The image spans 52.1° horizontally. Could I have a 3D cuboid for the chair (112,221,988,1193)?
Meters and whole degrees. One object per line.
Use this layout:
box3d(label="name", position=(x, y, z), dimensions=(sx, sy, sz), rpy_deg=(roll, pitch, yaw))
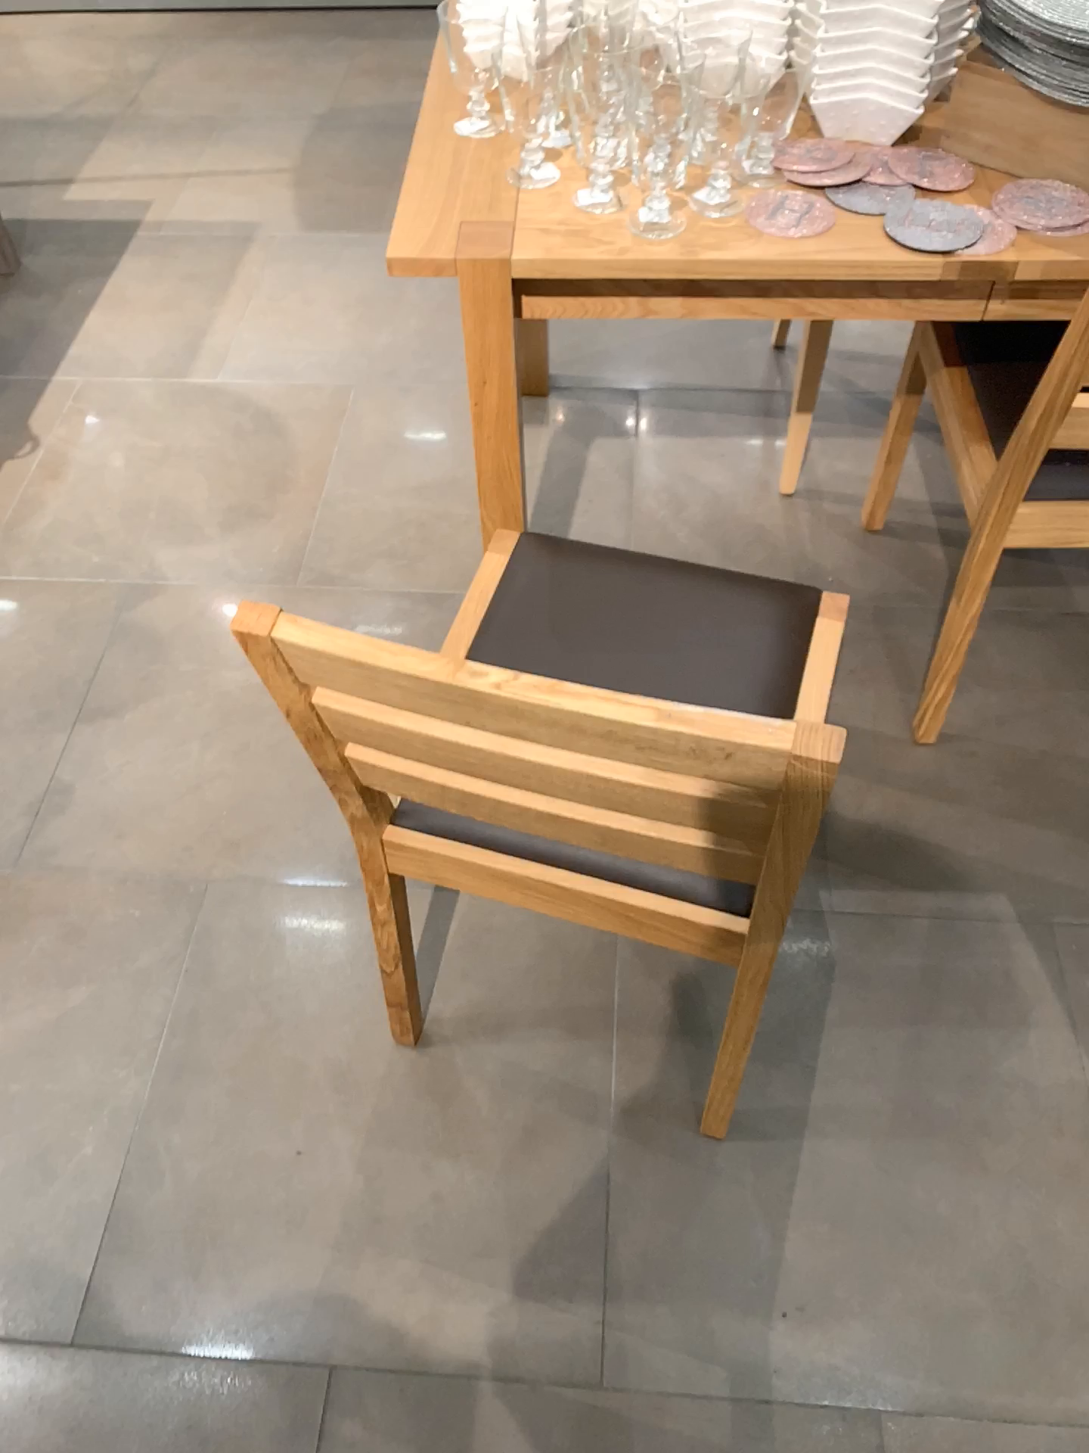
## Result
box3d(label="chair", position=(0.060, 0.019, 1.212), dimensions=(0.563, 0.816, 0.568), rpy_deg=(13, 53, 12))
